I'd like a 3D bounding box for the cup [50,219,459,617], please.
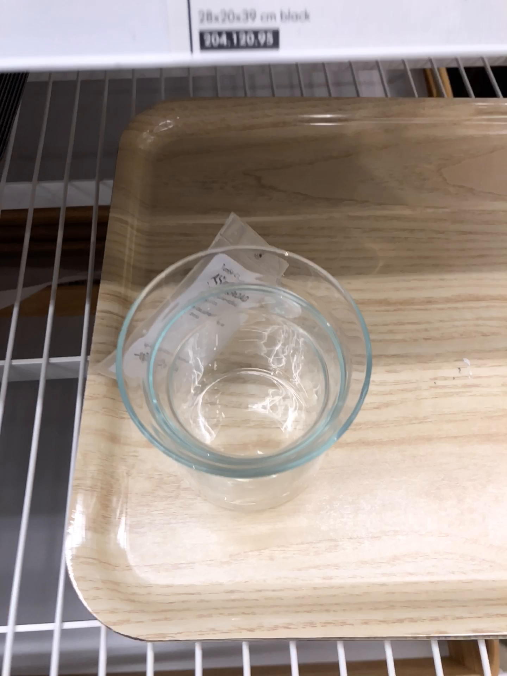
[{"bbox_3d":[0.000,0.032,0.221,0.100,0.080,0.090,-36,67,-19],"label":"cup"}]
